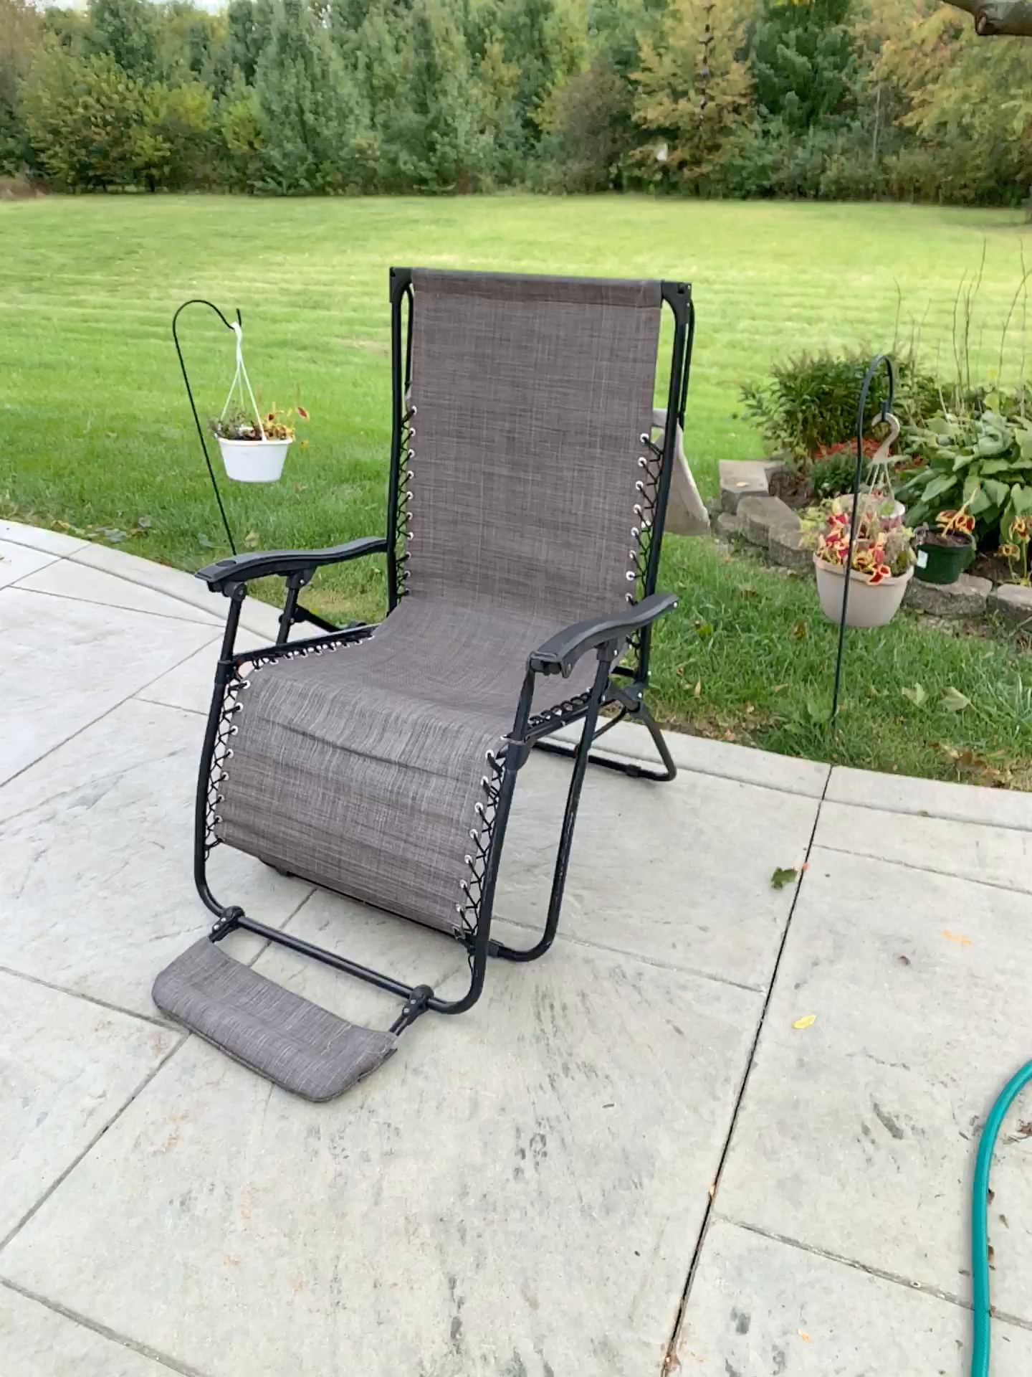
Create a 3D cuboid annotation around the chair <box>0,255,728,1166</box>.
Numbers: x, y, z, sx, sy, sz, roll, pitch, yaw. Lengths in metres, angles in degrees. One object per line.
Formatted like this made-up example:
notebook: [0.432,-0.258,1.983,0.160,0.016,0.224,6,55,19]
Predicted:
chair: [-0.216,-0.111,1.870,0.742,1.056,1.152,14,33,27]
